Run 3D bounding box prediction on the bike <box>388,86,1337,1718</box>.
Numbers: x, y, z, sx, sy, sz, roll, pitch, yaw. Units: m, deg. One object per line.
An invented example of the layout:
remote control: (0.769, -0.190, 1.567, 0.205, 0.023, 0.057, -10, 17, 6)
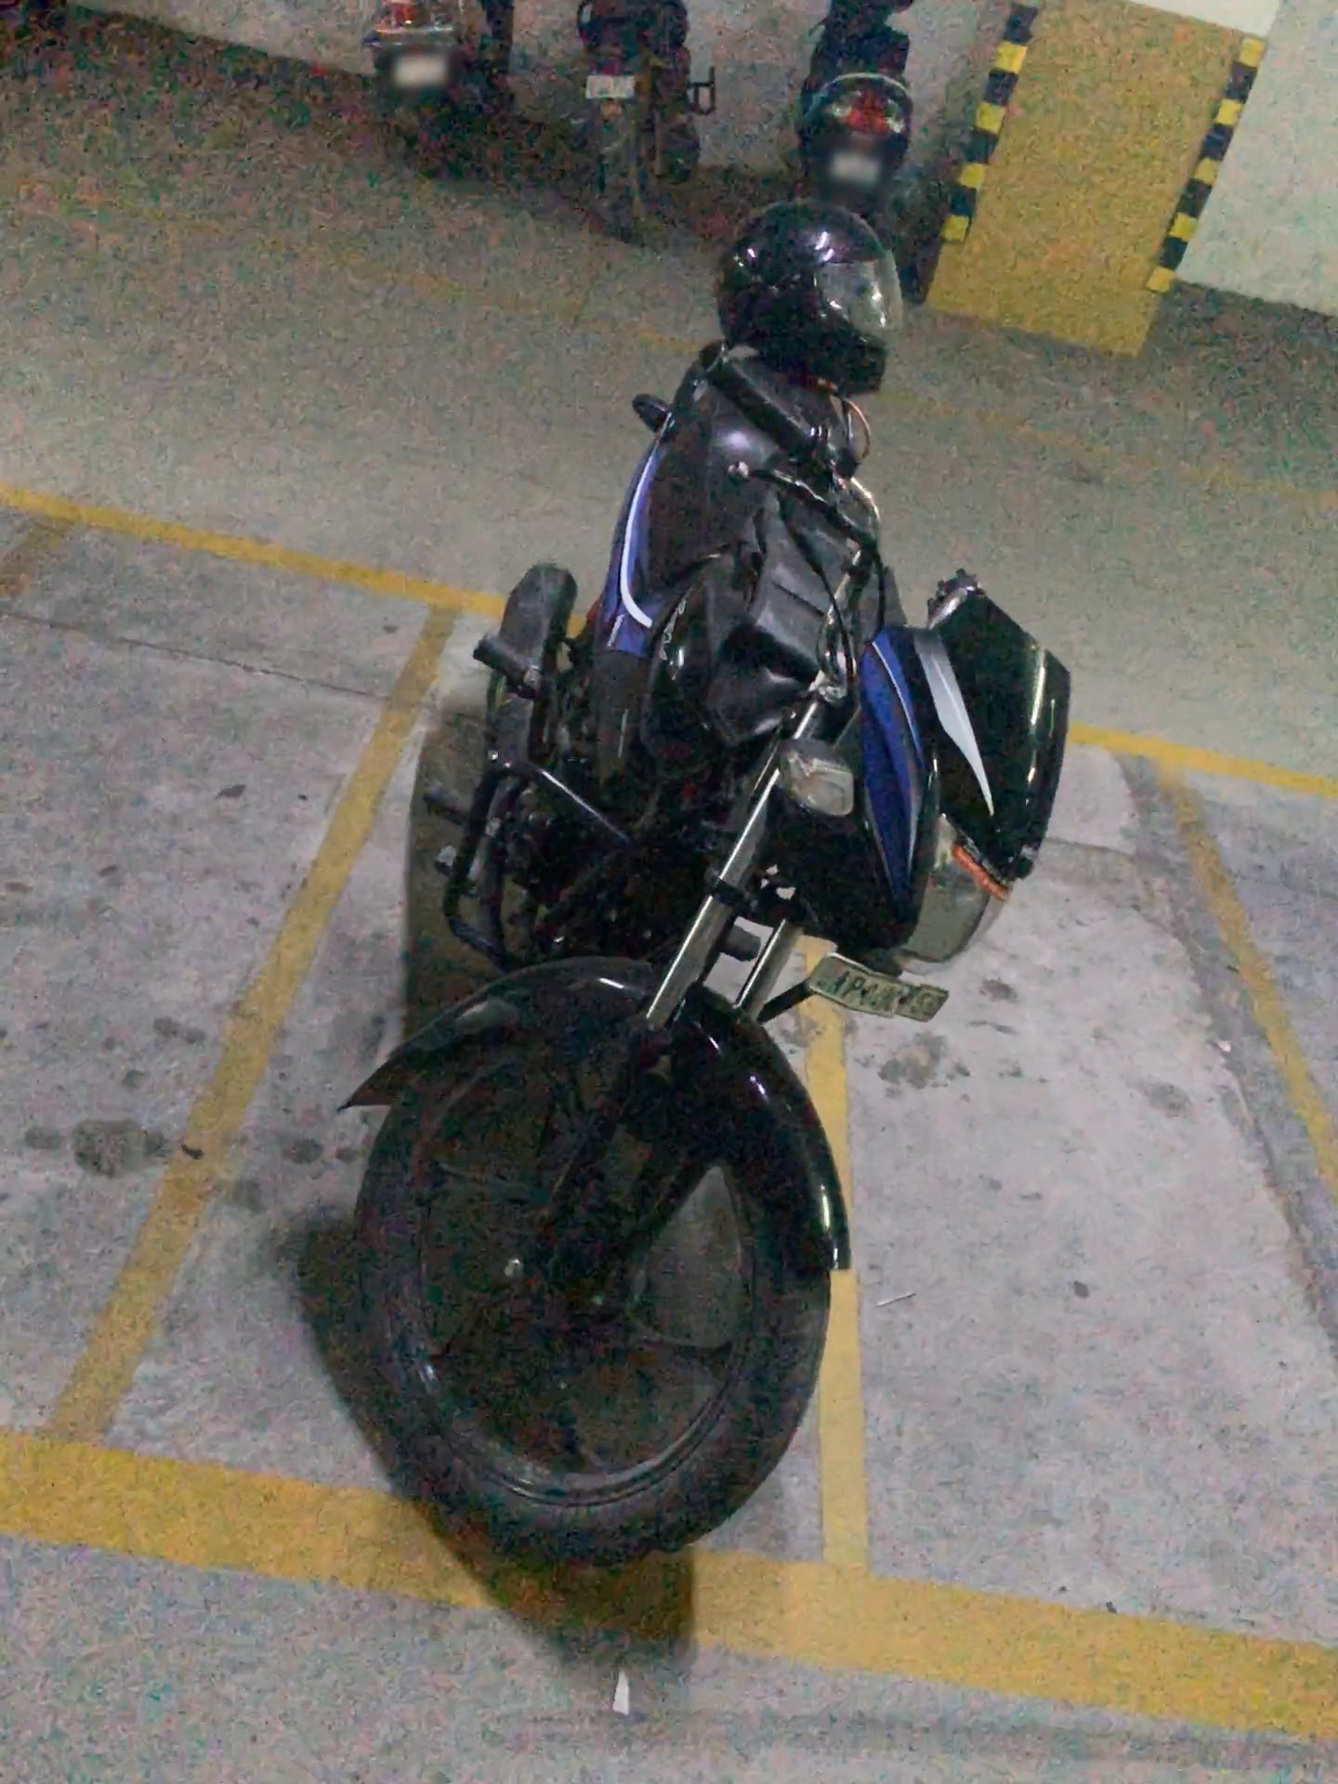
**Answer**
bike: (0.151, -0.134, 1.844, 0.767, 1.156, 1.725, 8, 40, -9)
